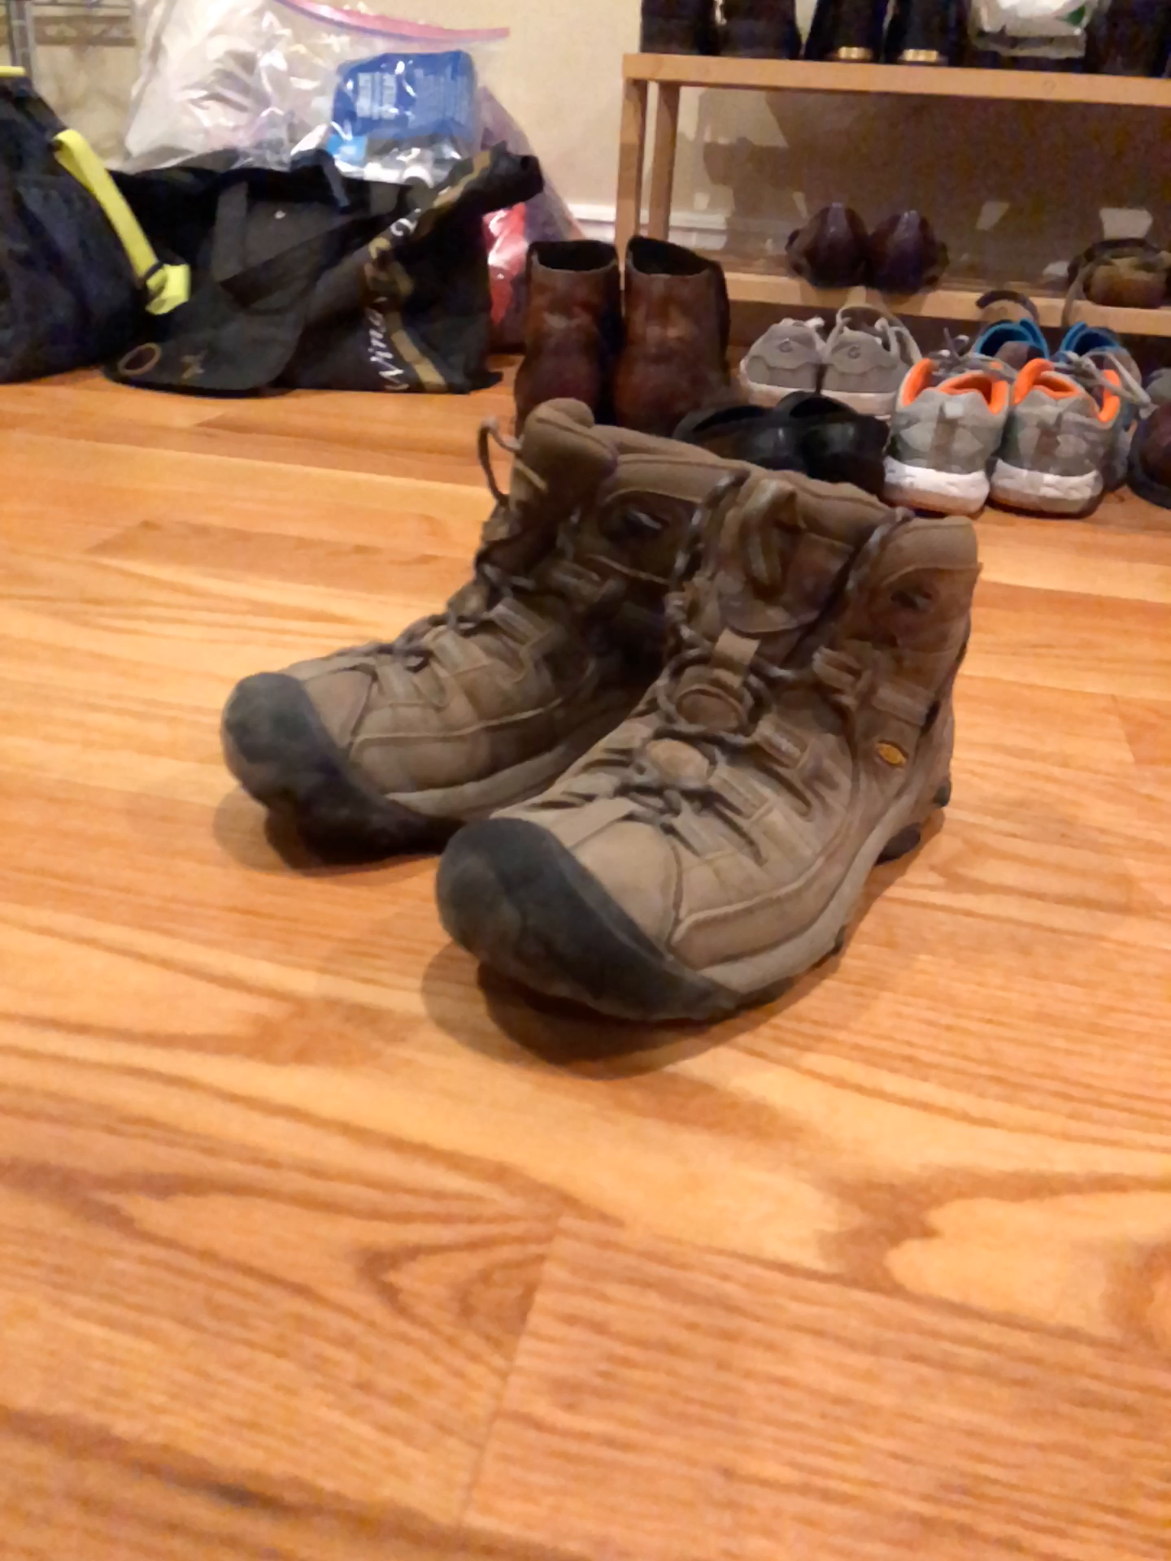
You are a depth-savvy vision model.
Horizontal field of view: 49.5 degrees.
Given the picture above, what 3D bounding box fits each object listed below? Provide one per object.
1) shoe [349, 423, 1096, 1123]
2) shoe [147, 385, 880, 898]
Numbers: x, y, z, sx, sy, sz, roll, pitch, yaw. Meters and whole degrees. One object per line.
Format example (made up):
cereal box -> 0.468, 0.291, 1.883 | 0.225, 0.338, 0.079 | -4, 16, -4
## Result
shoe -> 0.057, -0.027, 0.436 | 0.108, 0.139, 0.260 | 24, 33, 34
shoe -> -0.023, -0.071, 0.512 | 0.260, 0.139, 0.108 | -14, 32, -32
